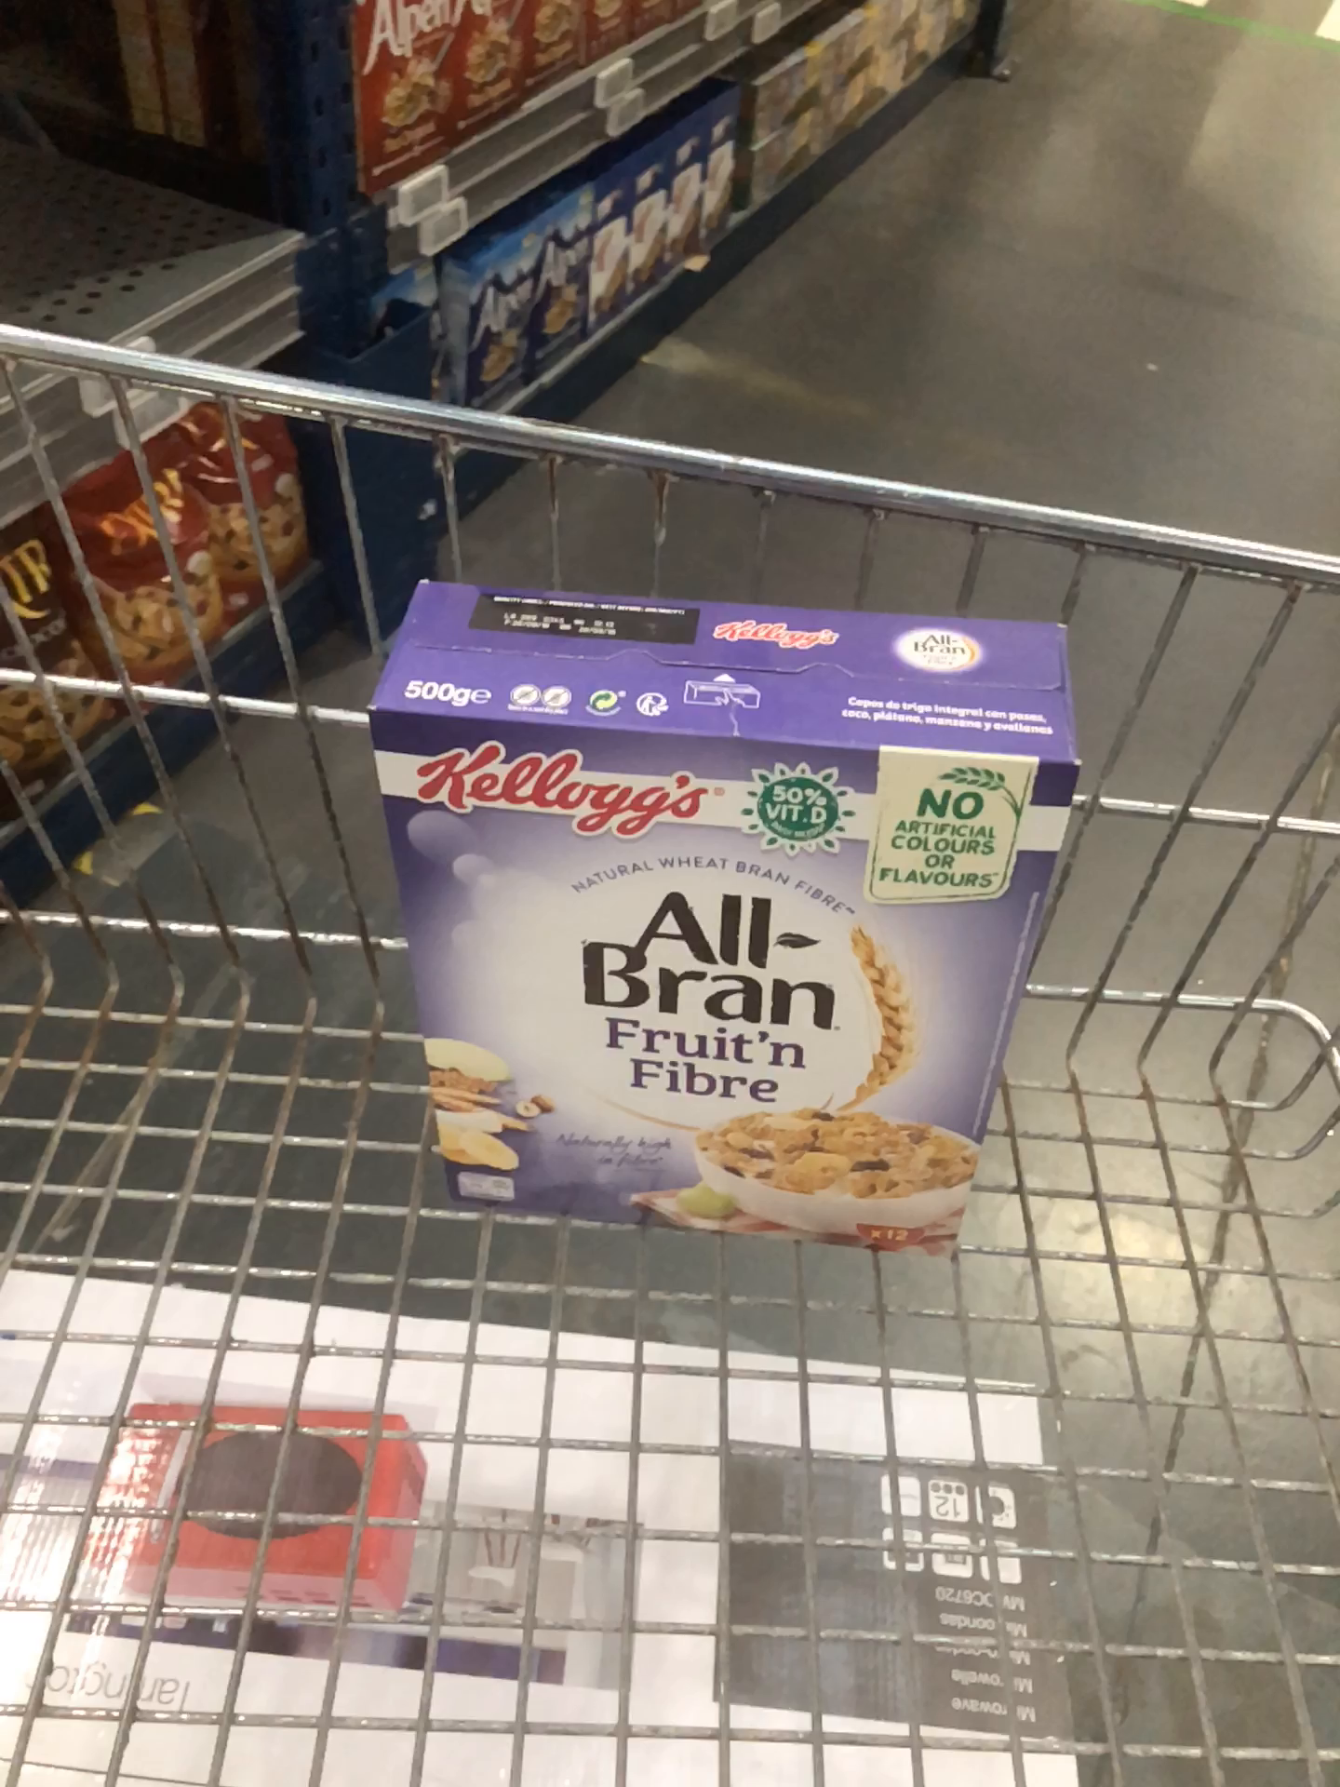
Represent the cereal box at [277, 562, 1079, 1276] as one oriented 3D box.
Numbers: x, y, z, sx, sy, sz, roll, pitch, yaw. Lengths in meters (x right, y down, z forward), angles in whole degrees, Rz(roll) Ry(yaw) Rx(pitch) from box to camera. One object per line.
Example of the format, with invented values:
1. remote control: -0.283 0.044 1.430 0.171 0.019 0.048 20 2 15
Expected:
1. cereal box: 0.003 0.020 0.457 0.190 0.229 0.070 4 46 4
